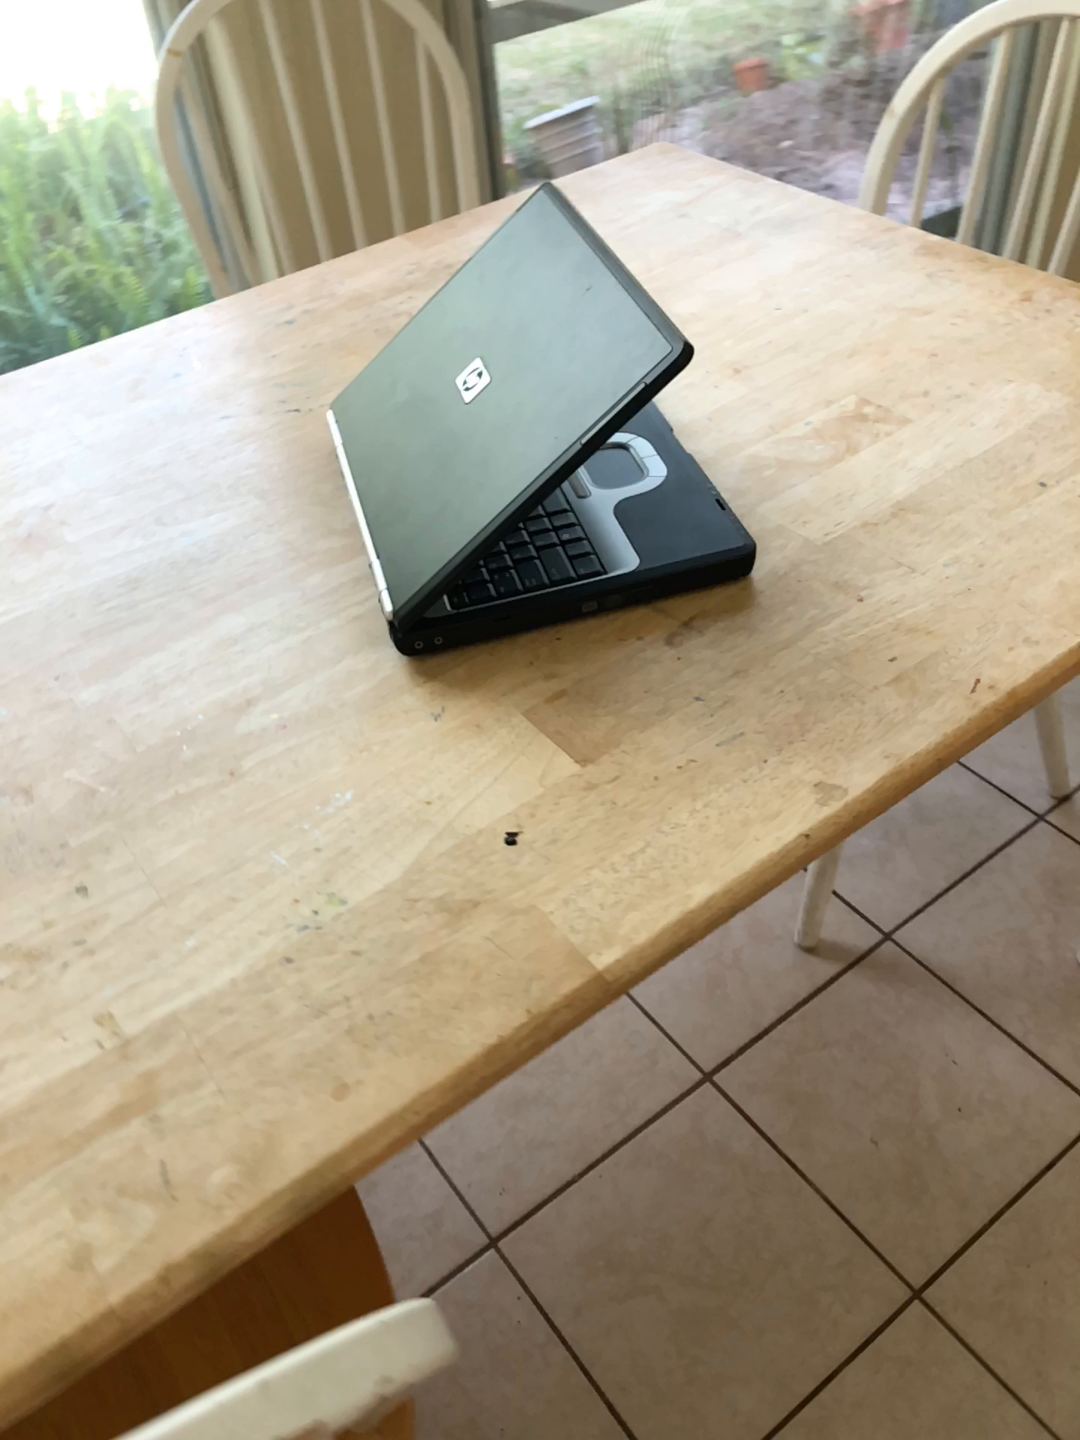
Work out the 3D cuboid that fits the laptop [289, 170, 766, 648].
[{"bbox_3d":[-0.022,-0.240,0.863,0.255,0.162,0.307,-15,44,-7],"label":"laptop"}]
